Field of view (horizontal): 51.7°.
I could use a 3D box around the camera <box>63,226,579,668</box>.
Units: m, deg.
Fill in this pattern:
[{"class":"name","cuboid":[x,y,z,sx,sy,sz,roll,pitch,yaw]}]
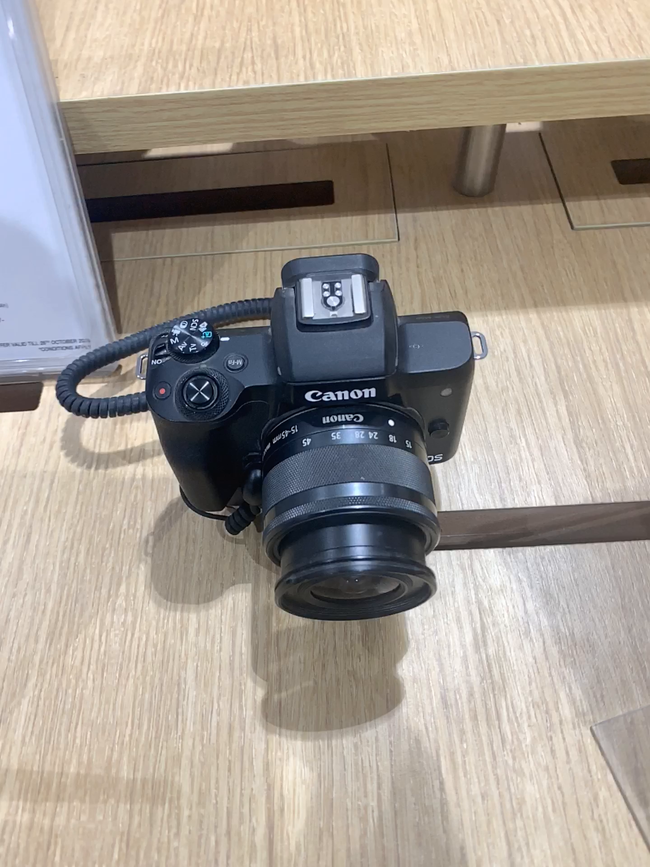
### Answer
[{"class":"camera","cuboid":[-0.002,0.010,0.224,0.120,0.100,0.100,-5,57,1]}]
